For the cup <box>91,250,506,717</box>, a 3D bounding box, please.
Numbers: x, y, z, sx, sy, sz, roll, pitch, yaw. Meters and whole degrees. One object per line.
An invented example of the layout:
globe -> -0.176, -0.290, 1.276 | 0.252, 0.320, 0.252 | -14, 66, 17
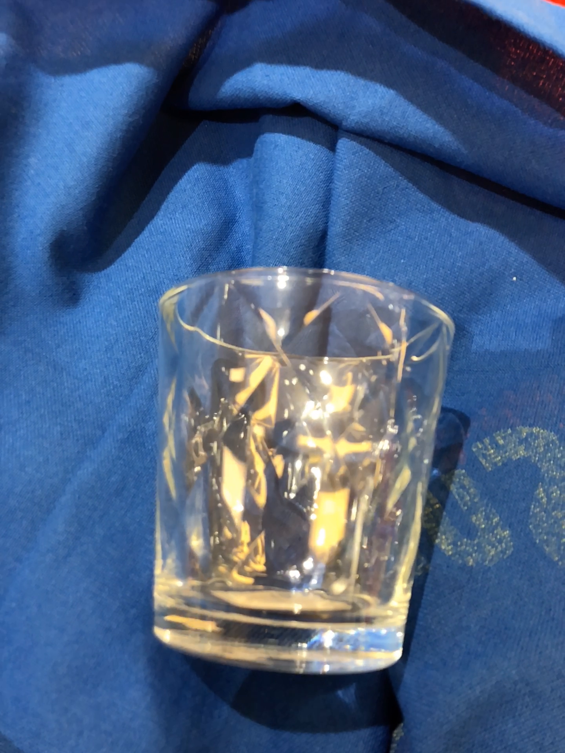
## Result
cup -> 0.006, 0.025, 0.166 | 0.080, 0.070, 0.090 | 5, 80, 1
